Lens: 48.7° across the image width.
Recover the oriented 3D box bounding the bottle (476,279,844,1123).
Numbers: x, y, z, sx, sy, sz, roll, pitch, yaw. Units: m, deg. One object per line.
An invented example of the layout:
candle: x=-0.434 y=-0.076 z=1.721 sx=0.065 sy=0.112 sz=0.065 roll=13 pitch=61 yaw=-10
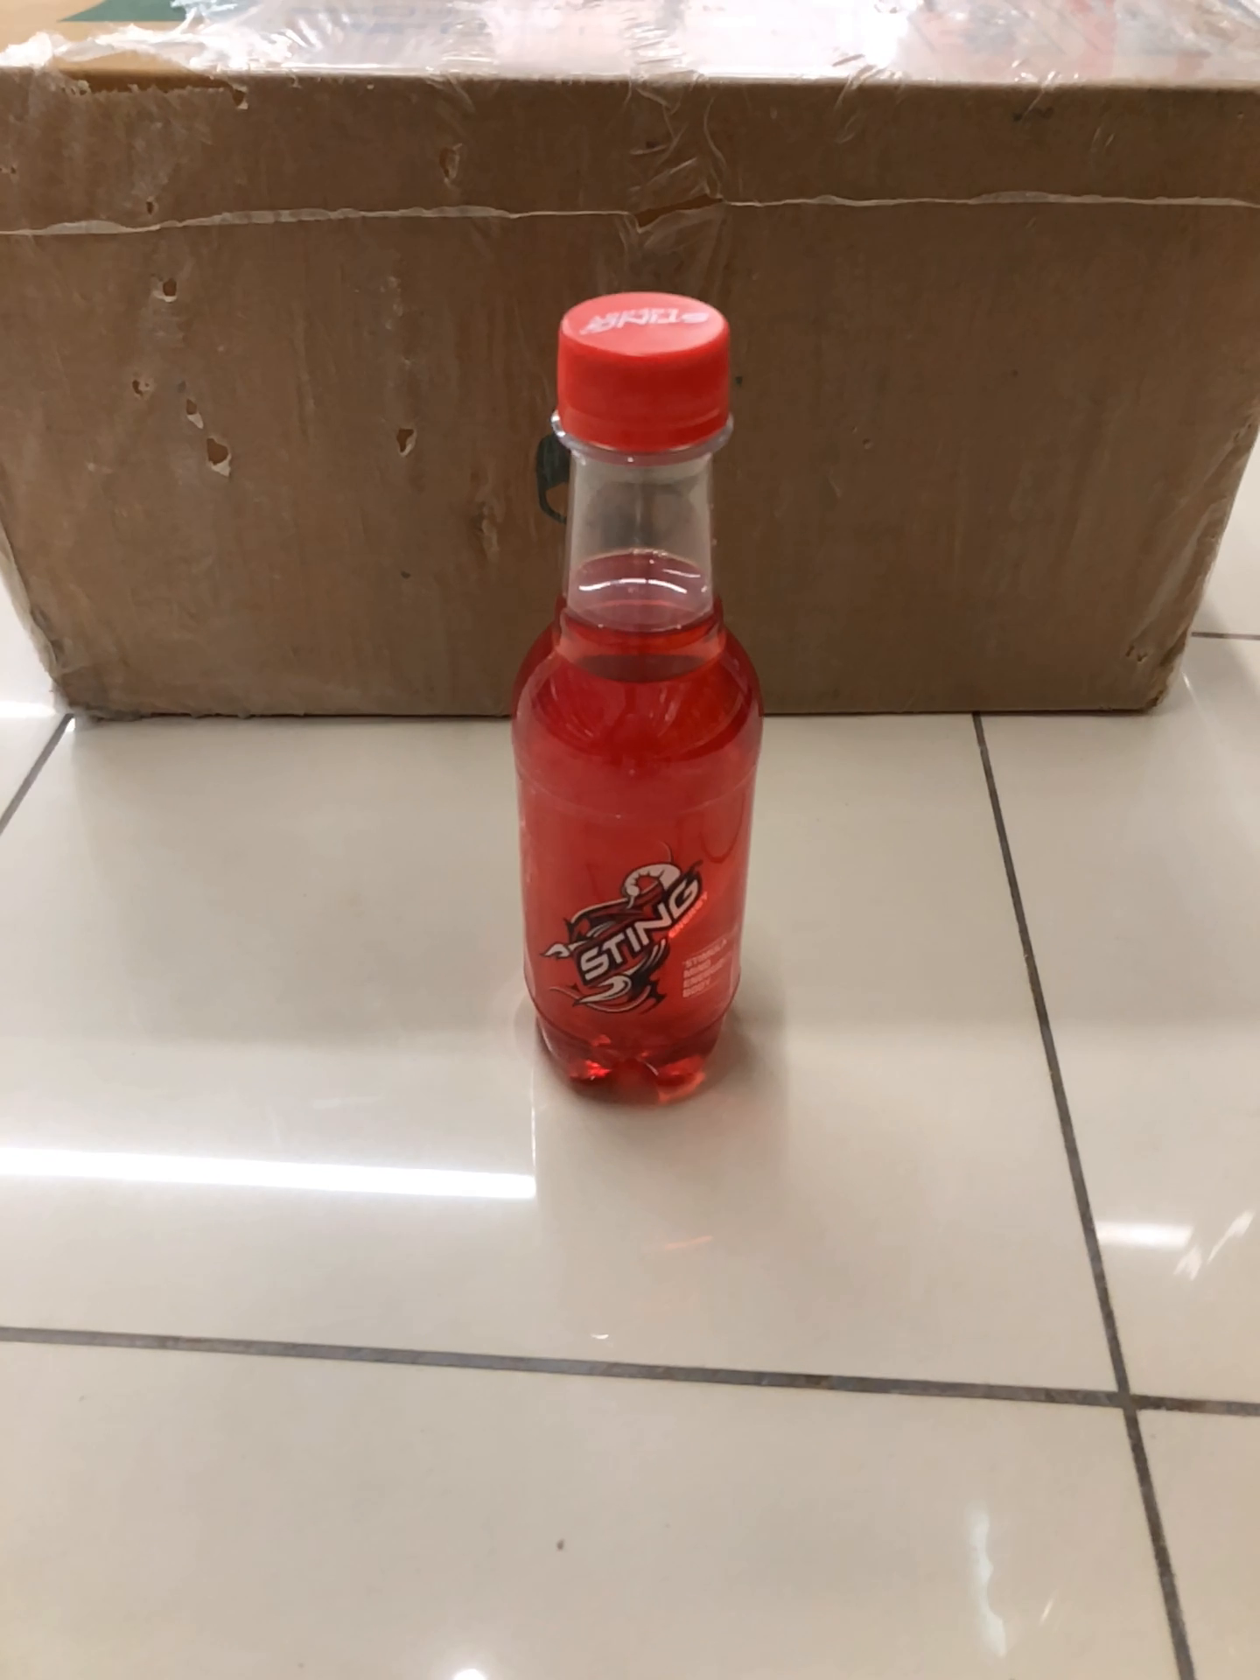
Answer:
bottle: x=0.005 y=-0.021 z=0.306 sx=0.060 sy=0.179 sz=0.060 roll=1 pitch=39 yaw=0
